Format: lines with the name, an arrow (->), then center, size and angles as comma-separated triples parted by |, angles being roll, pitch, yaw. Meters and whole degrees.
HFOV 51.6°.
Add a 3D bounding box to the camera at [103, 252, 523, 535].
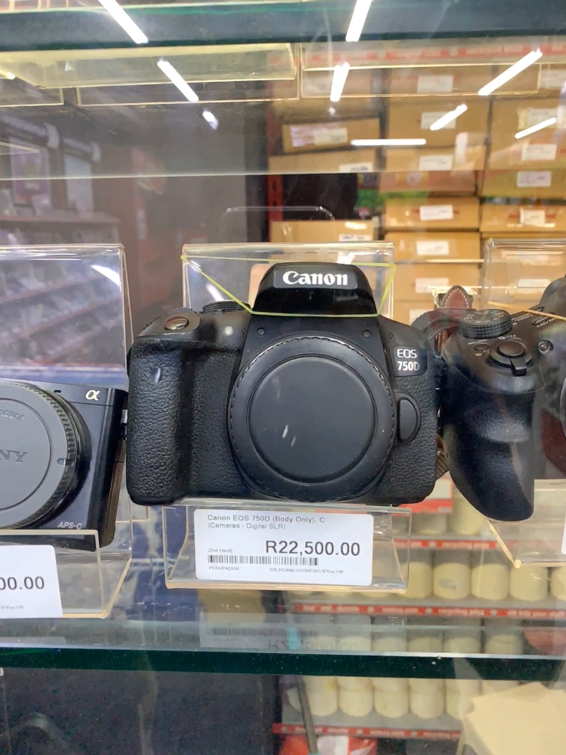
camera -> 0.007, 0.001, 0.225 | 0.130, 0.090, 0.070 | 1, 13, -2
